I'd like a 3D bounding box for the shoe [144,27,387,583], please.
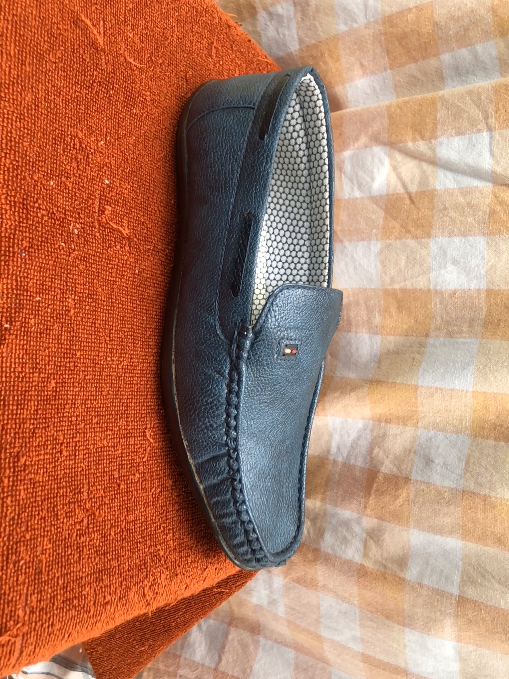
[{"bbox_3d":[0.013,-0.016,0.328,0.101,0.089,0.260,10,81,-57],"label":"shoe"}]
